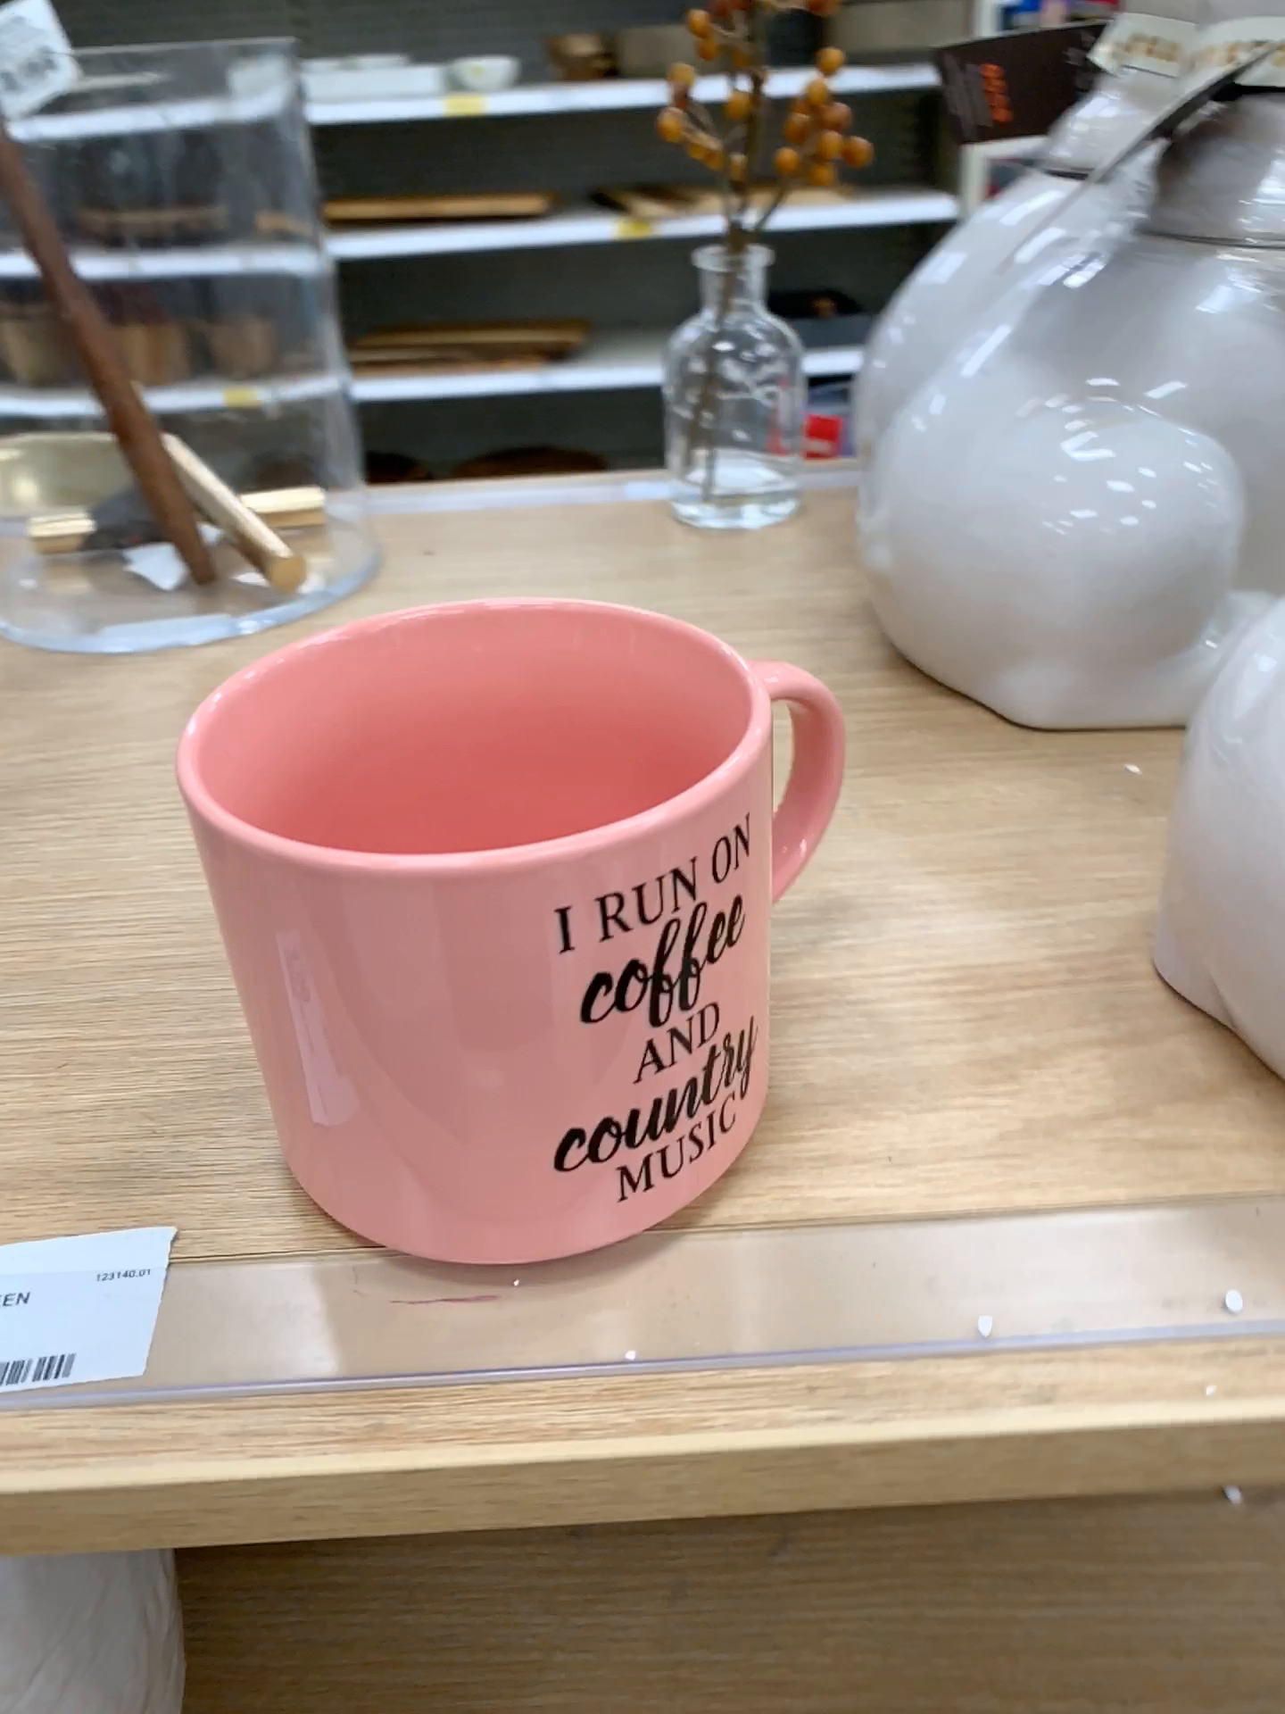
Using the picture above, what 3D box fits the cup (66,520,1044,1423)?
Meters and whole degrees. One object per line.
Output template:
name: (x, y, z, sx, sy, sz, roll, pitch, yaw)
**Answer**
cup: (-0.014, 0.006, 0.251, 0.133, 0.085, 0.104, -24, 38, -29)
